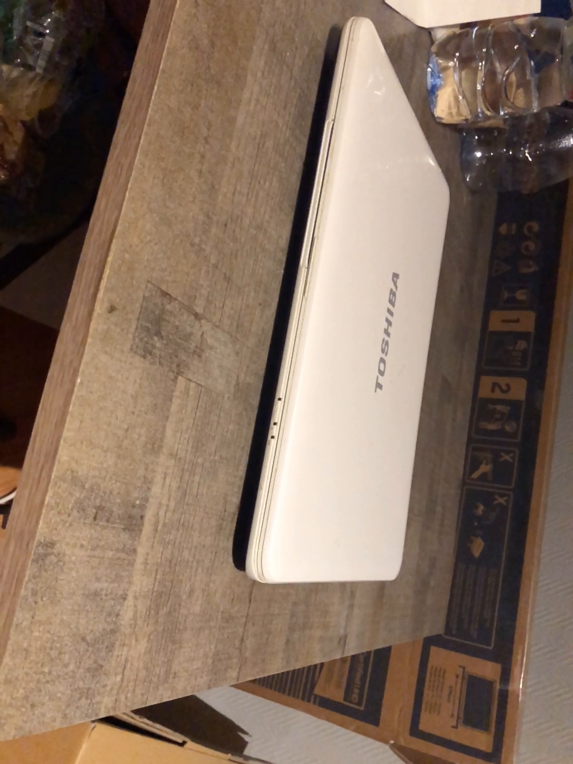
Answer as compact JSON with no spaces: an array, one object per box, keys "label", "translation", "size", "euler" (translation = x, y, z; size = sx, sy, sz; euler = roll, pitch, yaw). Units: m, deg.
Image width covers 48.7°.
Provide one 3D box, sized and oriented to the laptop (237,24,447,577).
[{"label":"laptop","translation":[0.066,-0.041,0.502],"size":[0.229,0.020,0.375],"euler":[30,67,-57]}]
